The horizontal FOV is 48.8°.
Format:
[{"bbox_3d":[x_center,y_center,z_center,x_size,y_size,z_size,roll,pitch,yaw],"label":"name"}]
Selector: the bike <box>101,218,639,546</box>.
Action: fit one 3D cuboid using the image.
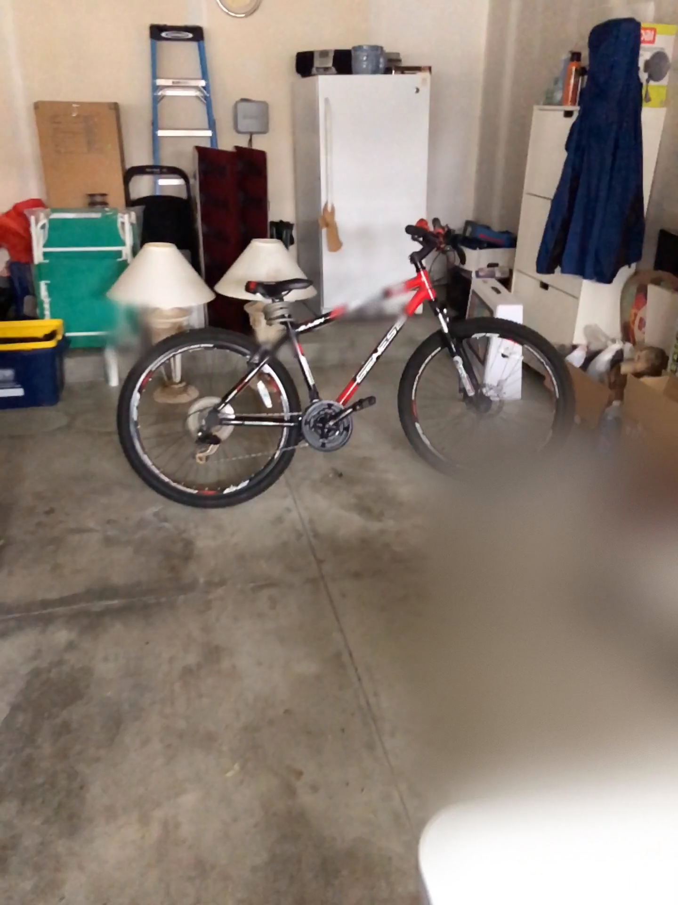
[{"bbox_3d":[0.031,-0.283,2.790,1.668,1.053,0.592,-2,24,-4],"label":"bike"}]
